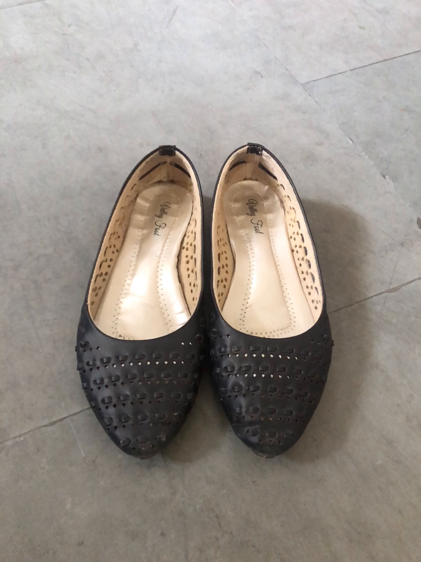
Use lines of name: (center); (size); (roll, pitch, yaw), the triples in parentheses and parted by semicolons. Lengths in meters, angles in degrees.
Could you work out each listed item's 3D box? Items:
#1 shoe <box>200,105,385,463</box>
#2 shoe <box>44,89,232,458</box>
shoe: (0.045, -0.016, 0.359); (0.100, 0.070, 0.281); (1, 56, 0)
shoe: (-0.038, -0.019, 0.345); (0.100, 0.070, 0.271); (1, 62, 0)
